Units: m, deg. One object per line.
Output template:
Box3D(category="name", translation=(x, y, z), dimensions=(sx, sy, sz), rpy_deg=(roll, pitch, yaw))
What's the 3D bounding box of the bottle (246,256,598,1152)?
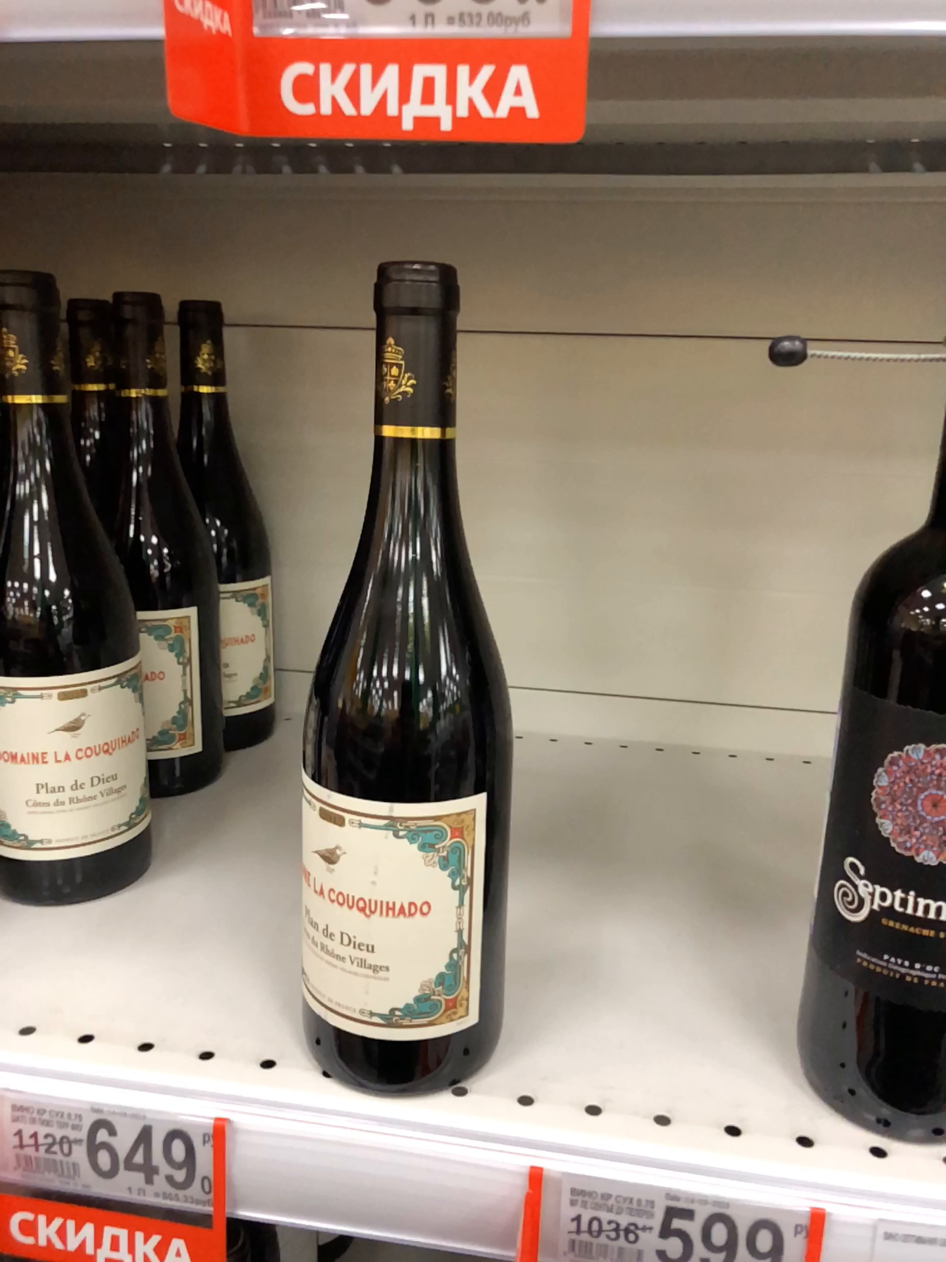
Box3D(category="bottle", translation=(-0.020, 0.024, 0.392), dimensions=(0.090, 0.302, 0.080), rpy_deg=(11, 17, 34))
